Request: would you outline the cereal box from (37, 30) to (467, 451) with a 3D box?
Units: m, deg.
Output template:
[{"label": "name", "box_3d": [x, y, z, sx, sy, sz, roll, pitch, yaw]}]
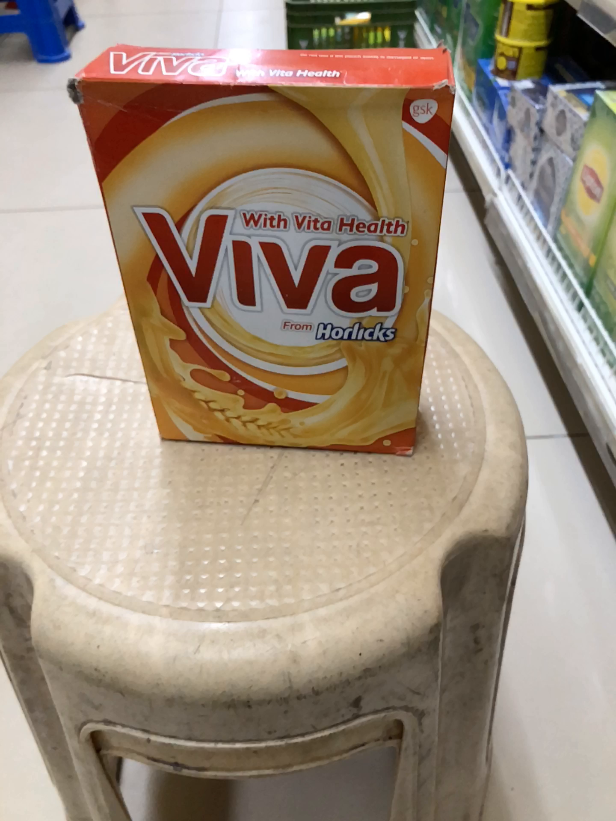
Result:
[{"label": "cereal box", "box_3d": [-0.017, -0.071, 0.338, 0.160, 0.199, 0.050, 3, 44, 5]}]
